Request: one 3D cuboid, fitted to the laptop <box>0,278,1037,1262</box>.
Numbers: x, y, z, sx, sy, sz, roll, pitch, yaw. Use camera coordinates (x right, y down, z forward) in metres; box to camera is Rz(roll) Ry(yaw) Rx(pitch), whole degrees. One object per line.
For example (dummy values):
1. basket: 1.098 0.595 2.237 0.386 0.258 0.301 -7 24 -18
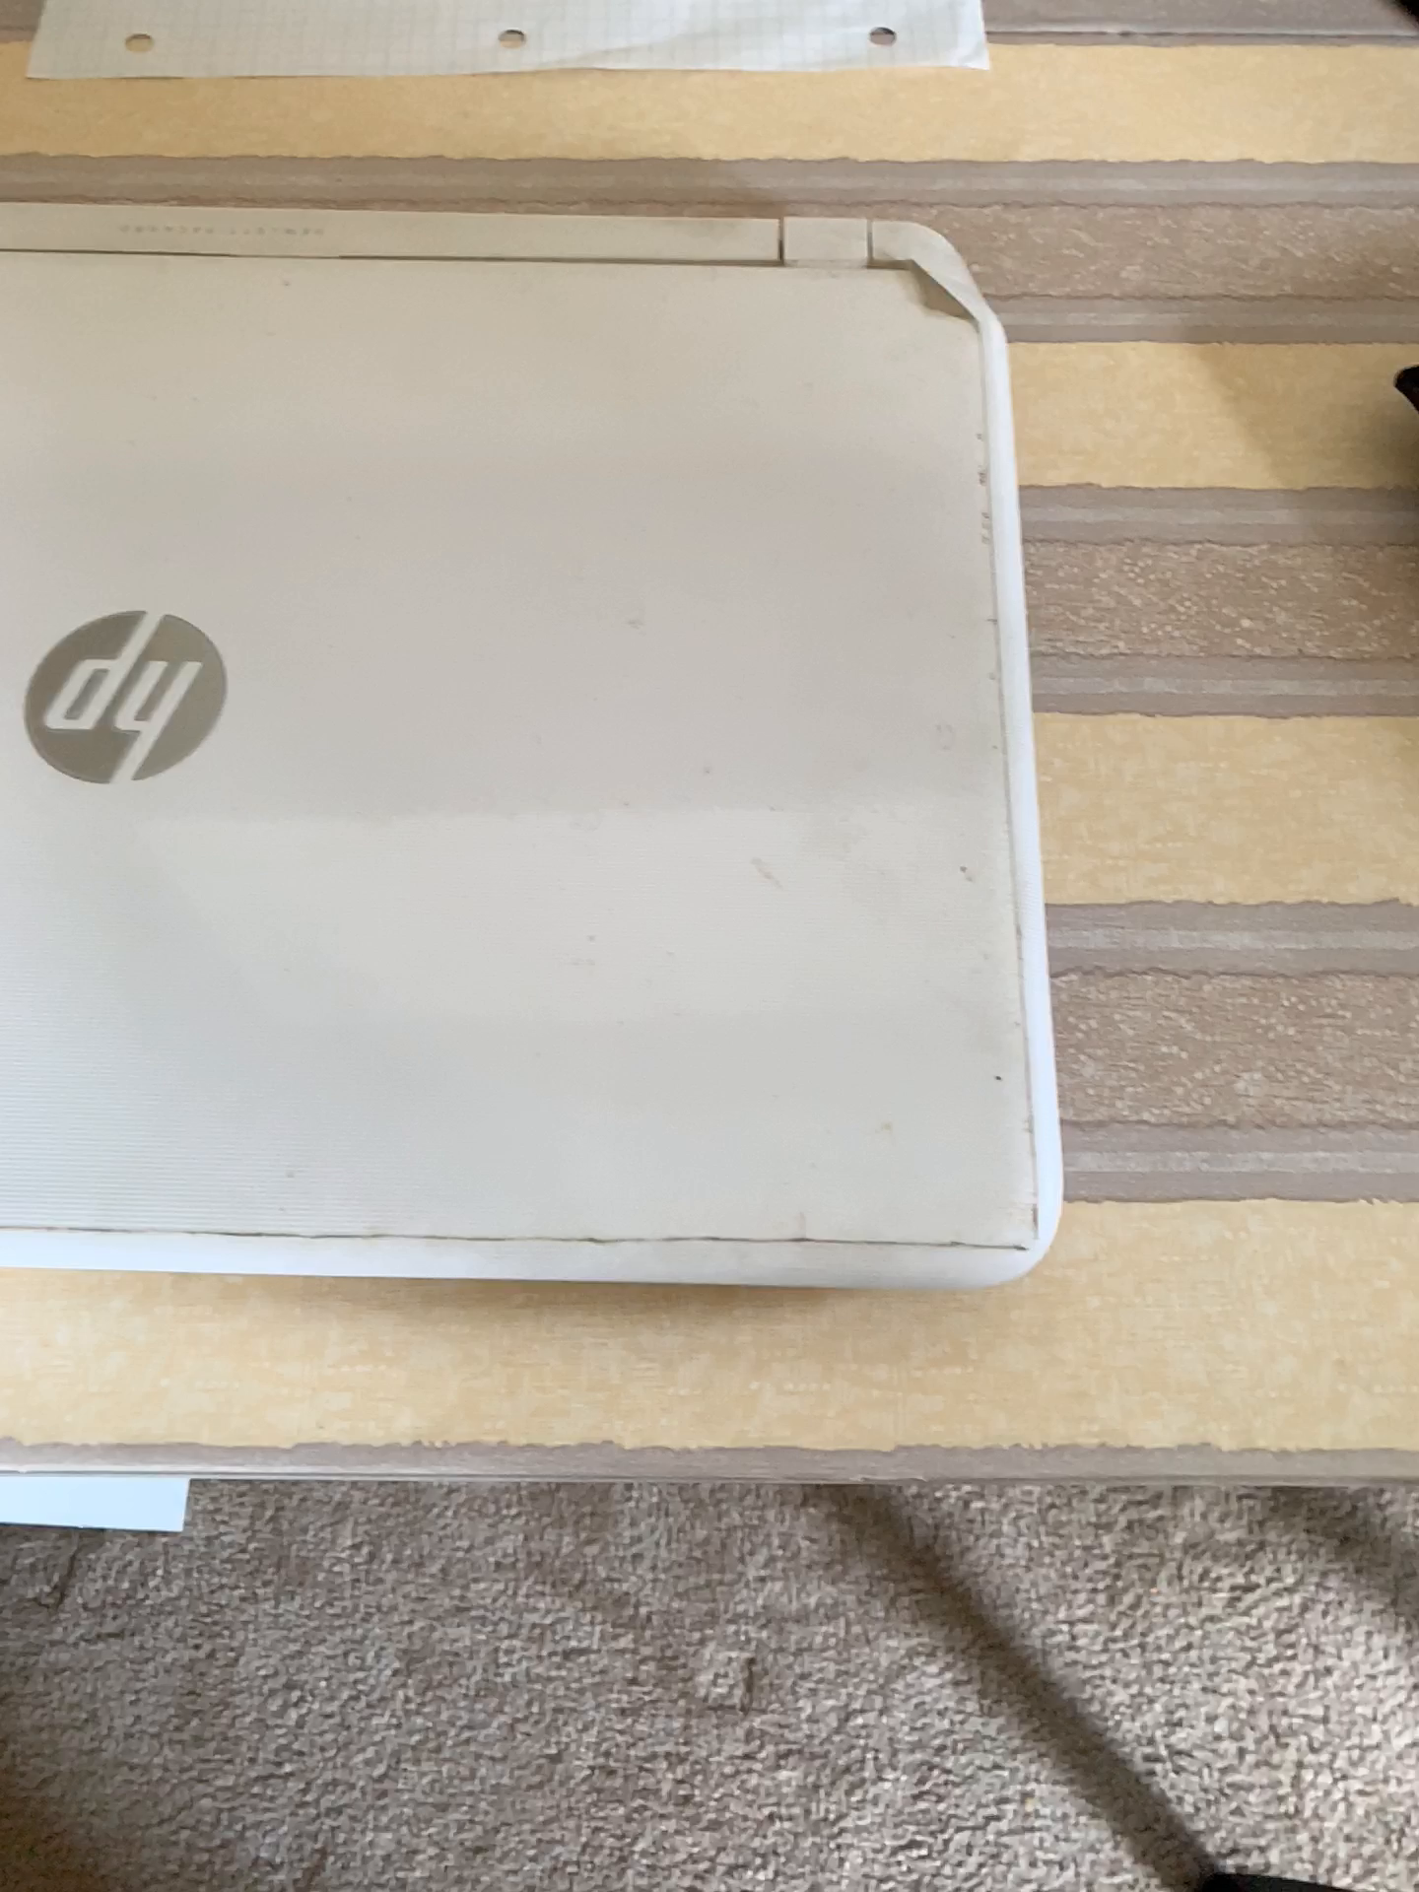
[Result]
1. laptop: -0.120 -0.053 0.309 0.363 0.002 0.229 1 68 1
